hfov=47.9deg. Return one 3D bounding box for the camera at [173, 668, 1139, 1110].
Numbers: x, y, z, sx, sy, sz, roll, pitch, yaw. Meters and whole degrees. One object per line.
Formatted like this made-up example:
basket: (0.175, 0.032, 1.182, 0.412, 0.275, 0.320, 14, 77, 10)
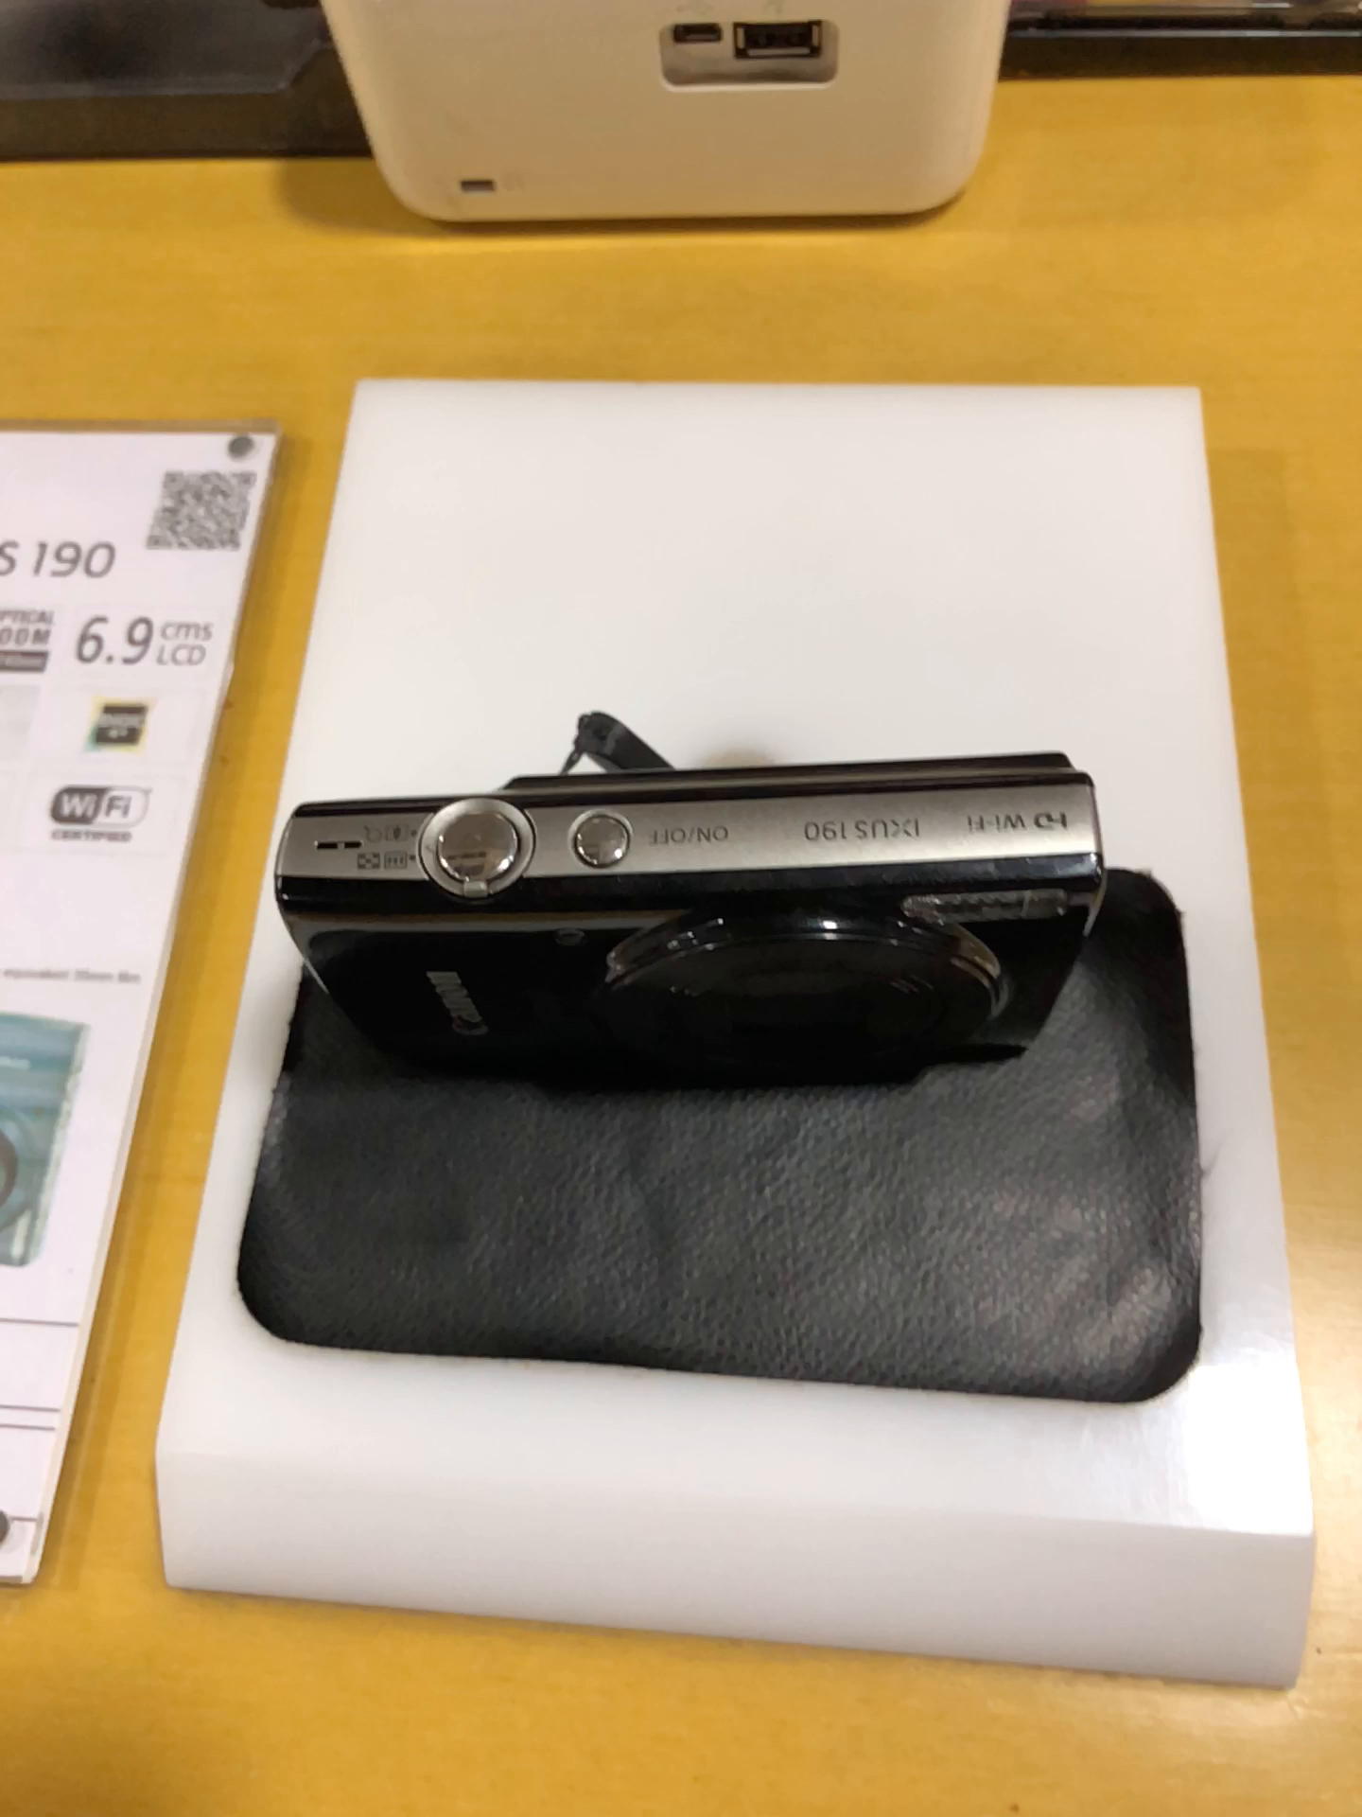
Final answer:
camera: (-0.002, 0.000, 0.187, 0.100, 0.050, 0.030, -3, 66, 2)
